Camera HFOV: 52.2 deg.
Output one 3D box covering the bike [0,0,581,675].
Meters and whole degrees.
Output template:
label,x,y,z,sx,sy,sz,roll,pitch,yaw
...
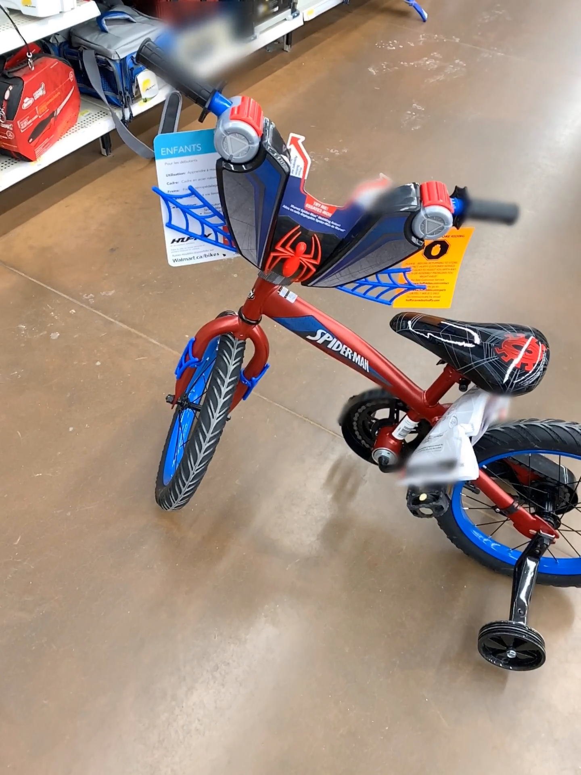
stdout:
label,x,y,z,sx,sy,sz,roll,pitch,yaw
bike,0.133,-0.013,0.763,0.565,0.708,0.477,9,48,4
